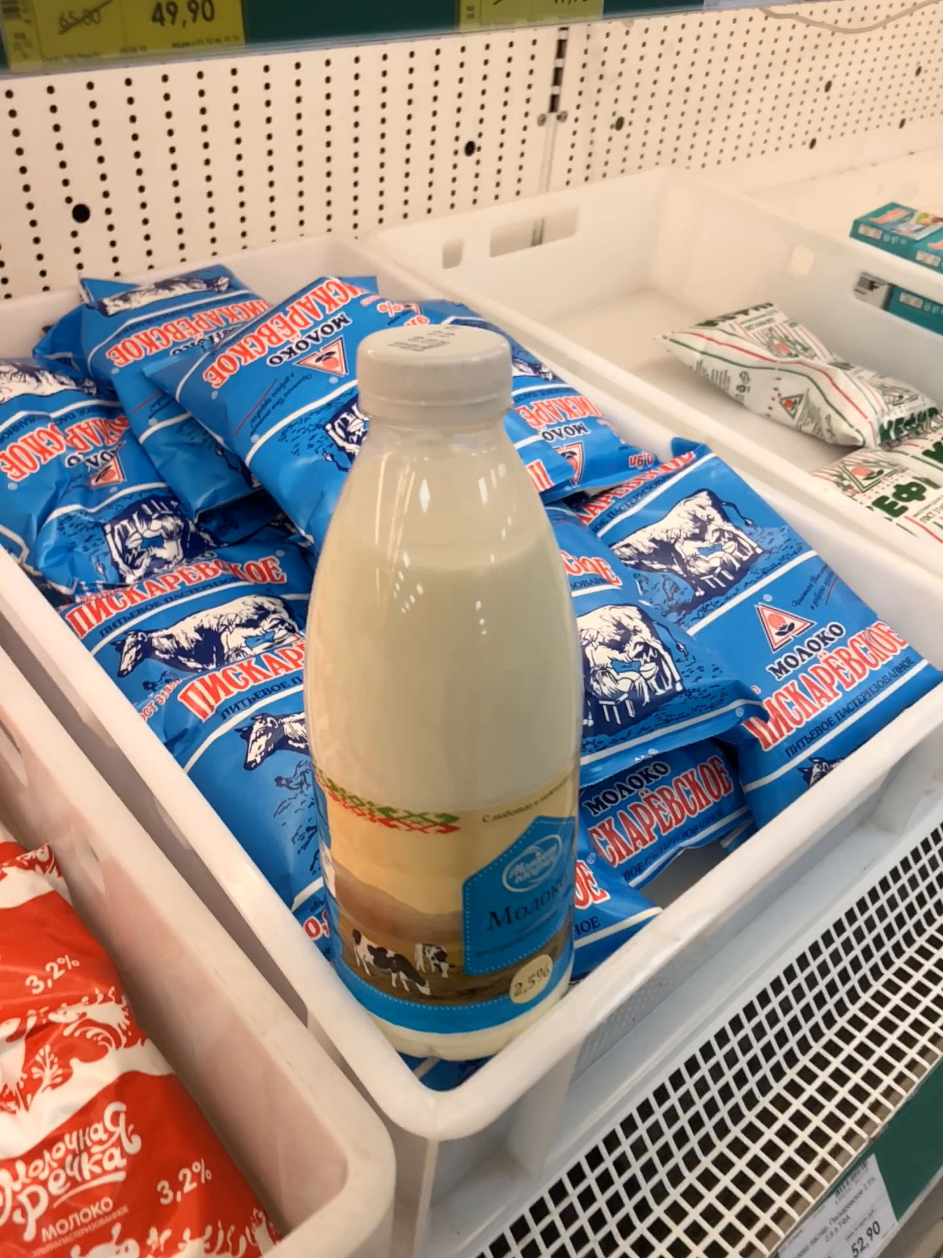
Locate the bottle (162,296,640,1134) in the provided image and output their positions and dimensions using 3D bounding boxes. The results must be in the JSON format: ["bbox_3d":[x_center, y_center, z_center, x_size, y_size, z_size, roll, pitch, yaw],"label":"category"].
[{"bbox_3d":[-0.014,0.027,0.326,0.090,0.229,0.090,-3,29,2],"label":"bottle"}]
